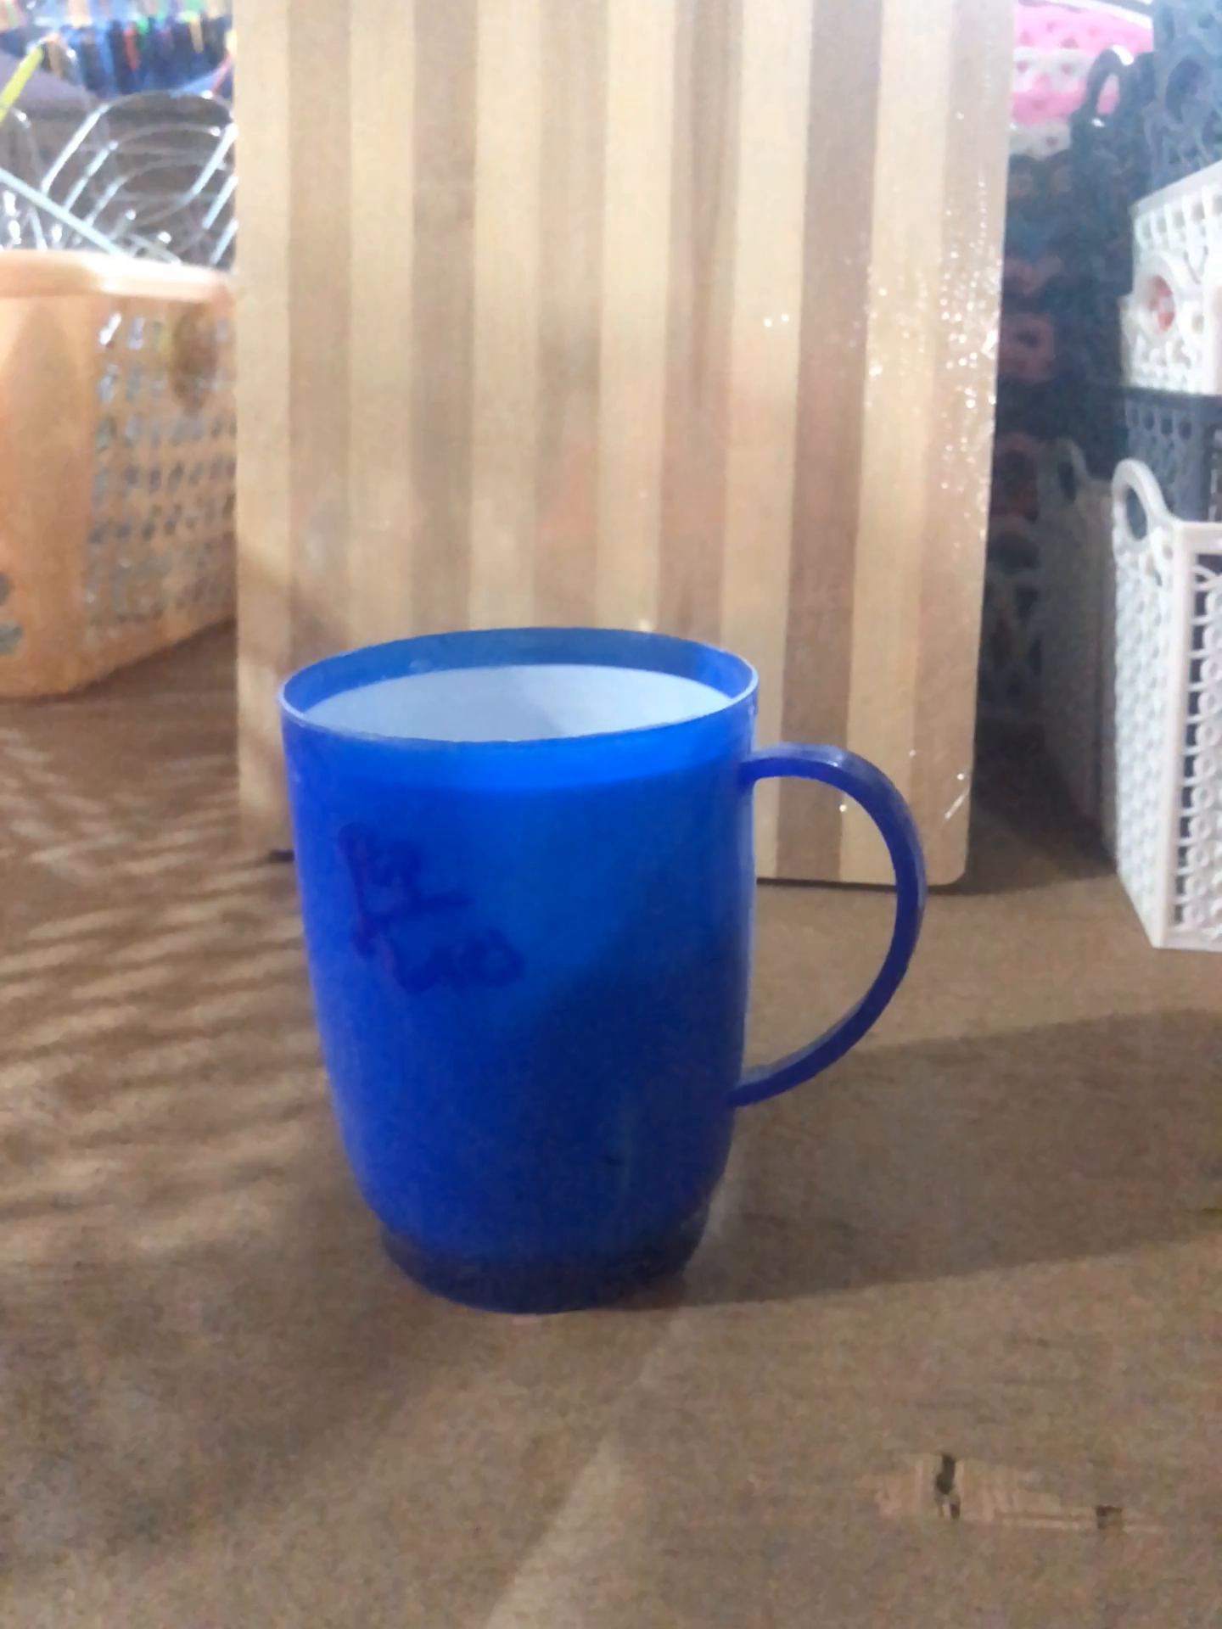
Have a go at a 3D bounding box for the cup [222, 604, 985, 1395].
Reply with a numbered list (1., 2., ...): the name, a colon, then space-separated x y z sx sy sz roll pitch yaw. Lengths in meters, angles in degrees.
1. cup: 0.005 0.025 0.241 0.110 0.110 0.070 3 20 13
